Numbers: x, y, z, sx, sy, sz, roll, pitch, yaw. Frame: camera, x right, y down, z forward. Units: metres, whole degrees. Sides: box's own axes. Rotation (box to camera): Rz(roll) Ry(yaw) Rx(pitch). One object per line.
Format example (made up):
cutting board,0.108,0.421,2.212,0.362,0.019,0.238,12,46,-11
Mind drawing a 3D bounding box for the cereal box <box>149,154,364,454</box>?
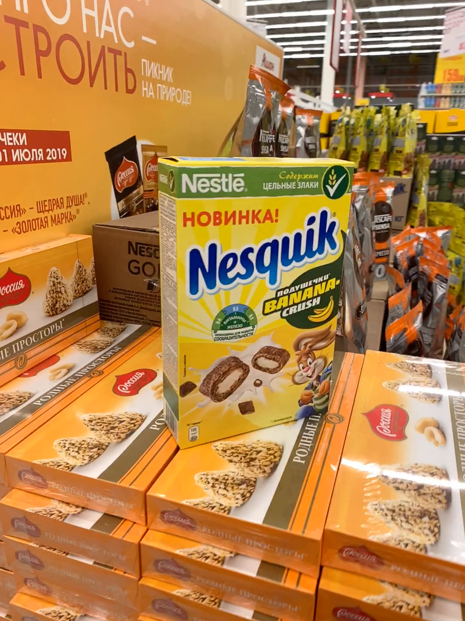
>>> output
cereal box,0.019,-0.010,0.404,0.160,0.229,0.050,-8,21,-23
